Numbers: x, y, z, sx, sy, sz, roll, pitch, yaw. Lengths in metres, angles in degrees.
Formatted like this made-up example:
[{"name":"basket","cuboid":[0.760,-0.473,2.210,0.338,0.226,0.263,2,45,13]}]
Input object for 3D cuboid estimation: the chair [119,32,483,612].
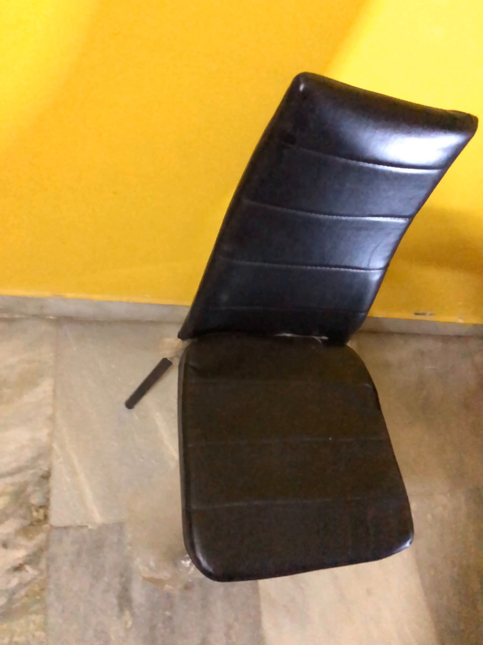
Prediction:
[{"name":"chair","cuboid":[0.107,0.143,0.915,0.482,0.904,0.532,4,59,-21]}]
